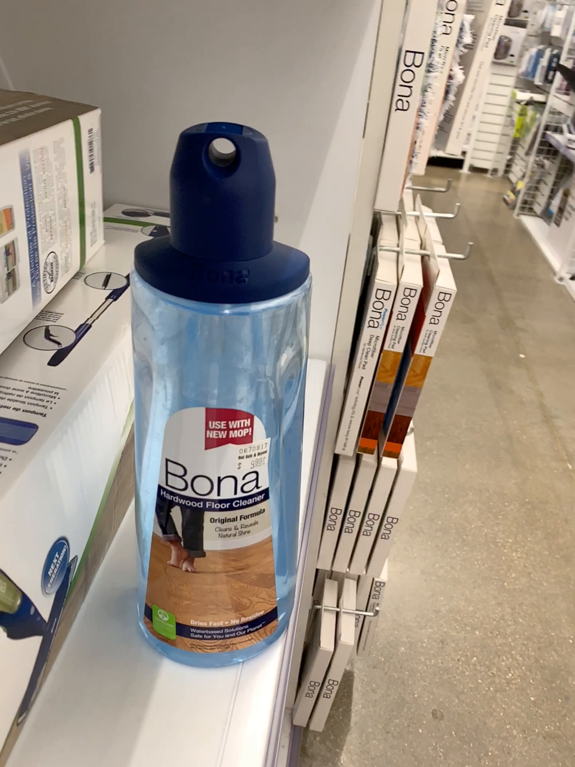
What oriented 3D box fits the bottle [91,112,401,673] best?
[{"bbox_3d":[-0.029,0.025,0.299,0.100,0.279,0.080,1,33,-9],"label":"bottle"}]
